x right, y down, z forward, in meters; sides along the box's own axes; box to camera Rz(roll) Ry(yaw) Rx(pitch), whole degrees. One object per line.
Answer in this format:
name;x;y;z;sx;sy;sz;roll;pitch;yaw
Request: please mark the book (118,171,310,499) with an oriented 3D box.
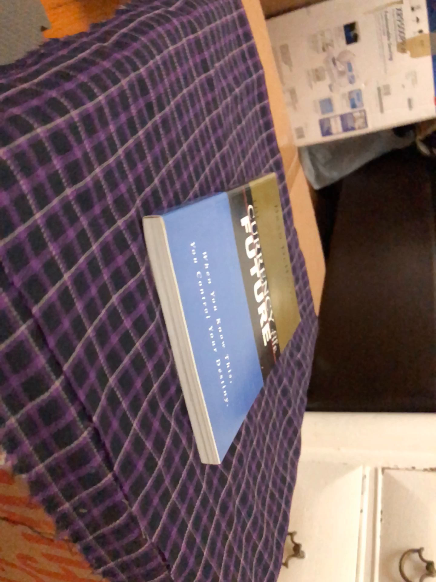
book;0.019;0.004;0.335;0.221;0.020;0.150;-40;120;-62
